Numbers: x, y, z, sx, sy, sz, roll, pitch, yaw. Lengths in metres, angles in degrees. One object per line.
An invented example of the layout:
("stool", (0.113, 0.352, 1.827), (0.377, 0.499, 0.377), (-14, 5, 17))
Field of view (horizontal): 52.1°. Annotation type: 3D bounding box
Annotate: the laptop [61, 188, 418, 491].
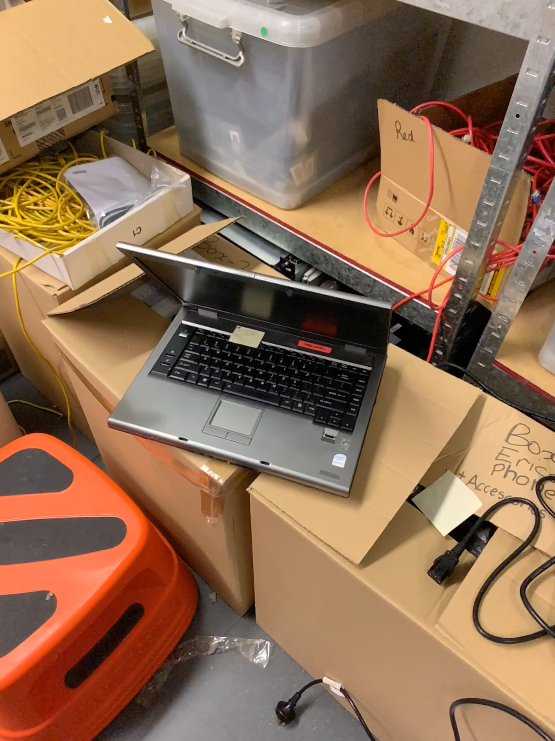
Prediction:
("laptop", (-0.035, -0.051, 0.772), (0.360, 0.238, 0.263), (14, 49, 12))
